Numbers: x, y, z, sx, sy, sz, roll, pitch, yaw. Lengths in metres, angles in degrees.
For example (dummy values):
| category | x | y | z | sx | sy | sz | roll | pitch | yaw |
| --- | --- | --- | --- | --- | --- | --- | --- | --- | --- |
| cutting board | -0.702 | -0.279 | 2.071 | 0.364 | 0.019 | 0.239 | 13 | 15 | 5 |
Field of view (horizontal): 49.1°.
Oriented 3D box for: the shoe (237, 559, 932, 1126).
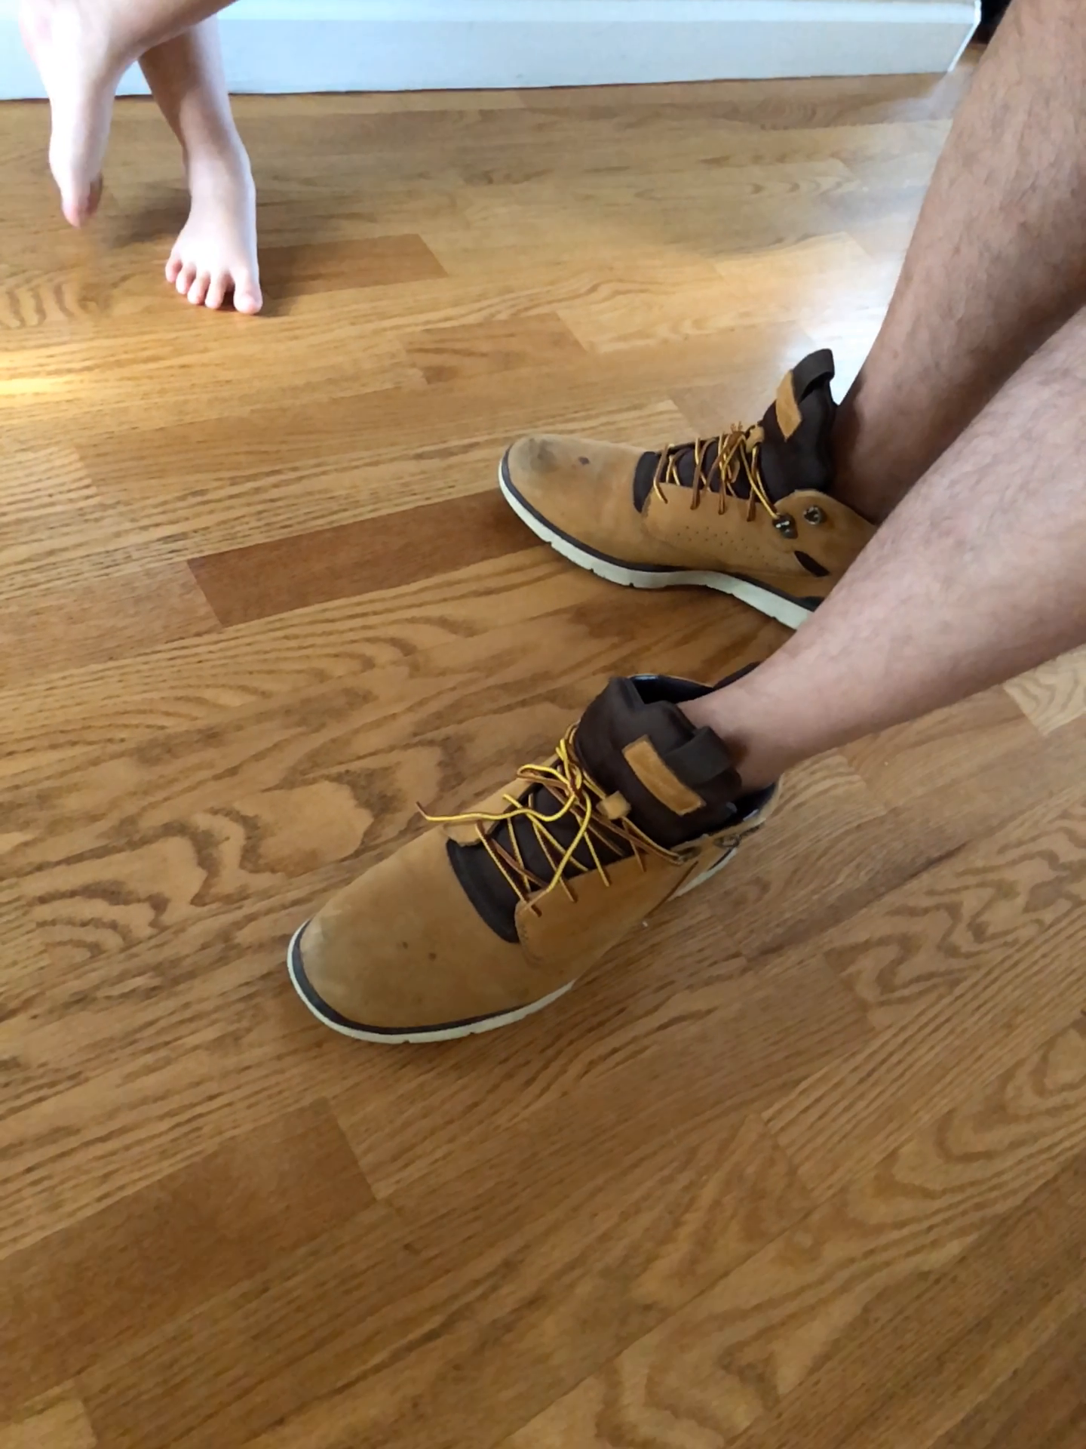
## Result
| category | x | y | z | sx | sy | sz | roll | pitch | yaw |
| --- | --- | --- | --- | --- | --- | --- | --- | --- | --- |
| shoe | 0.021 | 0.046 | 0.572 | 0.291 | 0.139 | 0.120 | -23 | 67 | -32 |

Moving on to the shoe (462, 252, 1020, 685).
| category | x | y | z | sx | sy | sz | roll | pitch | yaw |
| --- | --- | --- | --- | --- | --- | --- | --- | --- | --- |
| shoe | 0.124 | -0.159 | 0.779 | 0.310 | 0.149 | 0.121 | 16 | 52 | -10 |
